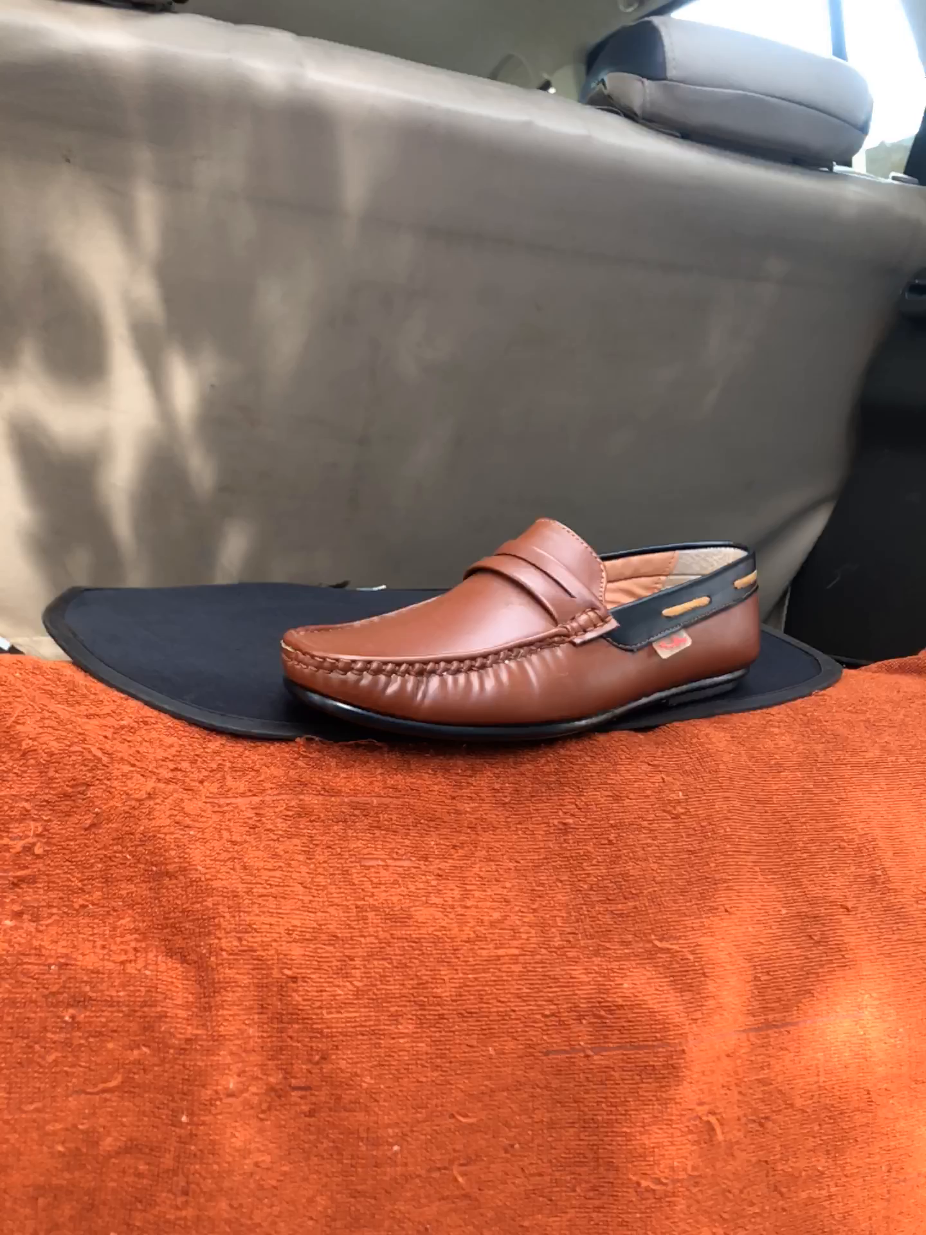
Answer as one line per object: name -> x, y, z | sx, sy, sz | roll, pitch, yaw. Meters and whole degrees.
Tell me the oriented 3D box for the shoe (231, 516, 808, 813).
shoe -> 0.040, 0.005, 0.501 | 0.281, 0.070, 0.110 | -11, 21, -40
